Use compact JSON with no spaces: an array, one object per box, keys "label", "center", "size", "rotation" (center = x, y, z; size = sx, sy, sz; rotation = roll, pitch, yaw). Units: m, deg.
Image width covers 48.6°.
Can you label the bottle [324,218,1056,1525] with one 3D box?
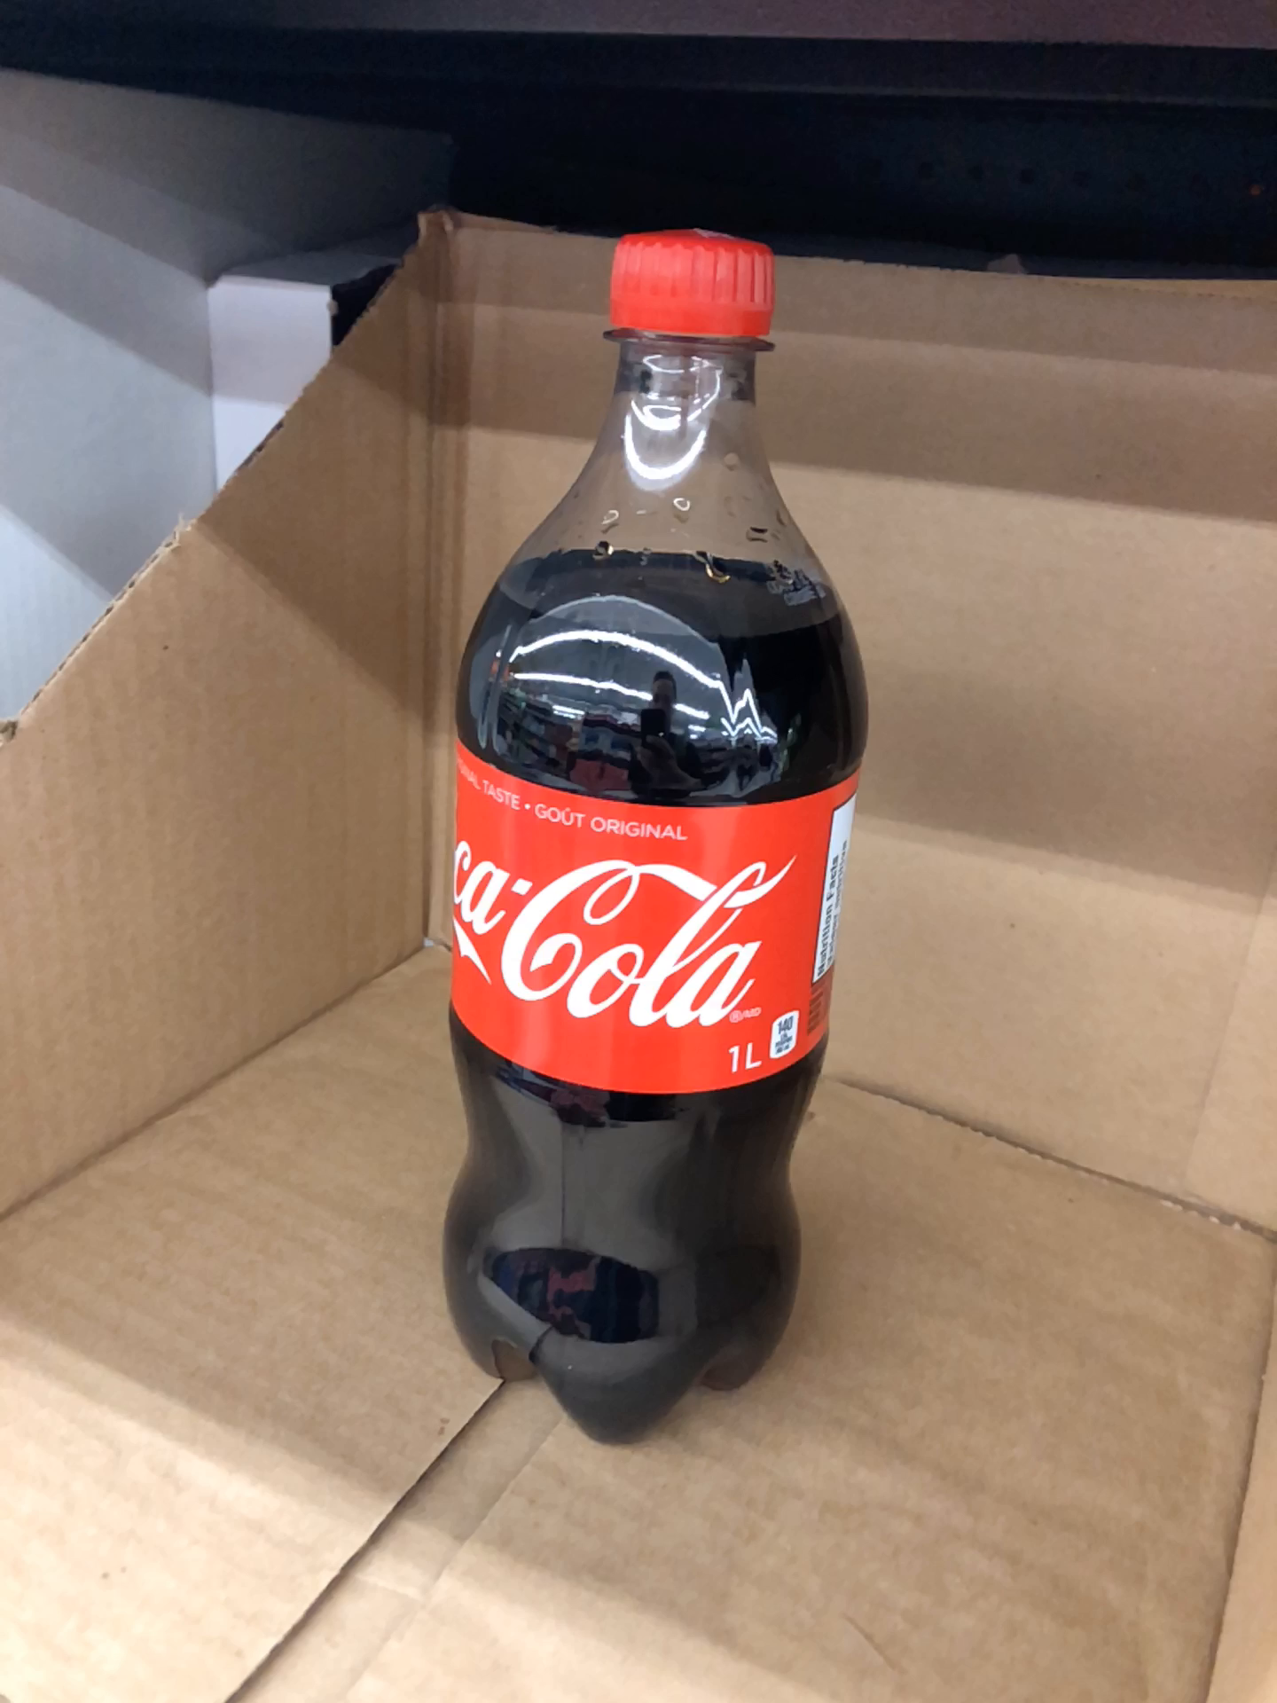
[{"label":"bottle","center":[0.004,0.001,0.309],"size":[0.100,0.248,0.090],"rotation":[21,30,32]}]
